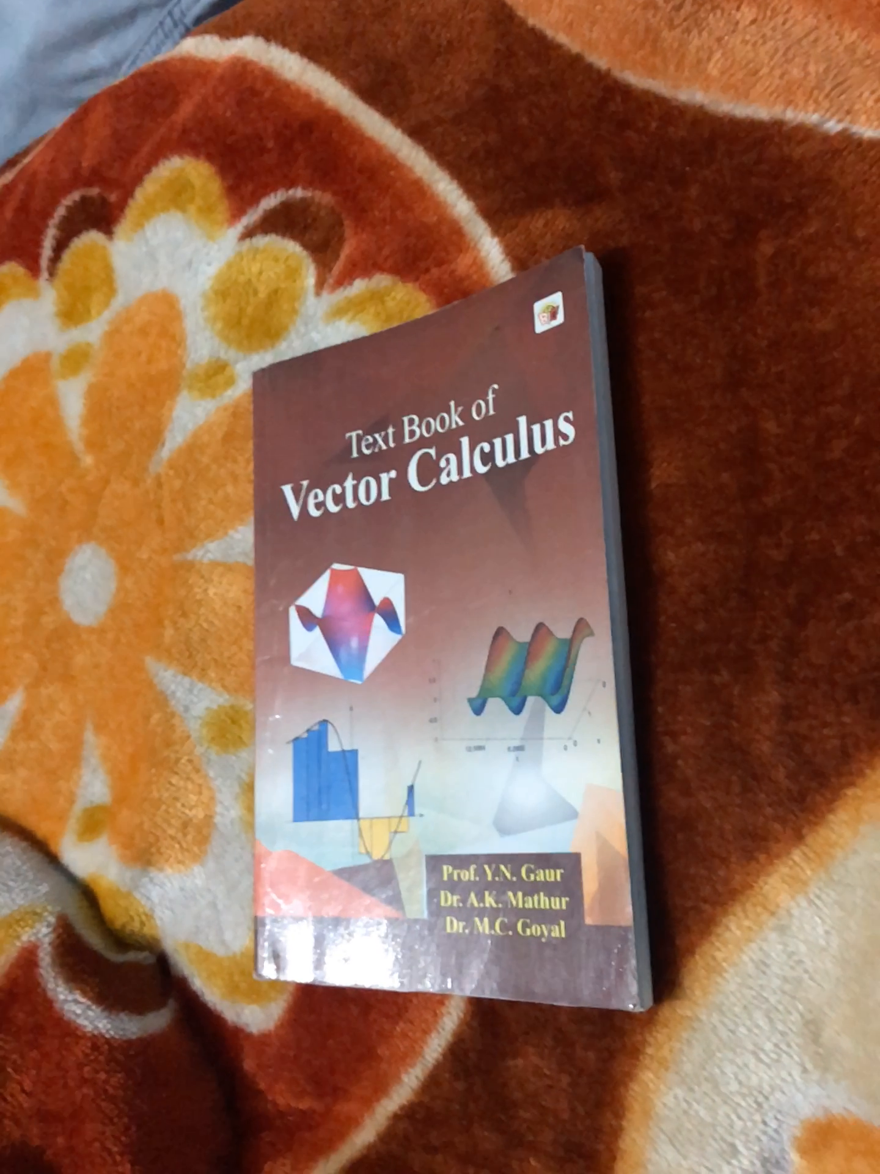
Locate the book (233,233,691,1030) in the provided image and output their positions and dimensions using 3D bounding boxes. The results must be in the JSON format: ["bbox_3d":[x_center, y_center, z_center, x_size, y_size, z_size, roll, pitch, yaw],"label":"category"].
[{"bbox_3d":[-0.006,0.015,0.302,0.141,0.020,0.210,-11,74,33],"label":"book"}]
